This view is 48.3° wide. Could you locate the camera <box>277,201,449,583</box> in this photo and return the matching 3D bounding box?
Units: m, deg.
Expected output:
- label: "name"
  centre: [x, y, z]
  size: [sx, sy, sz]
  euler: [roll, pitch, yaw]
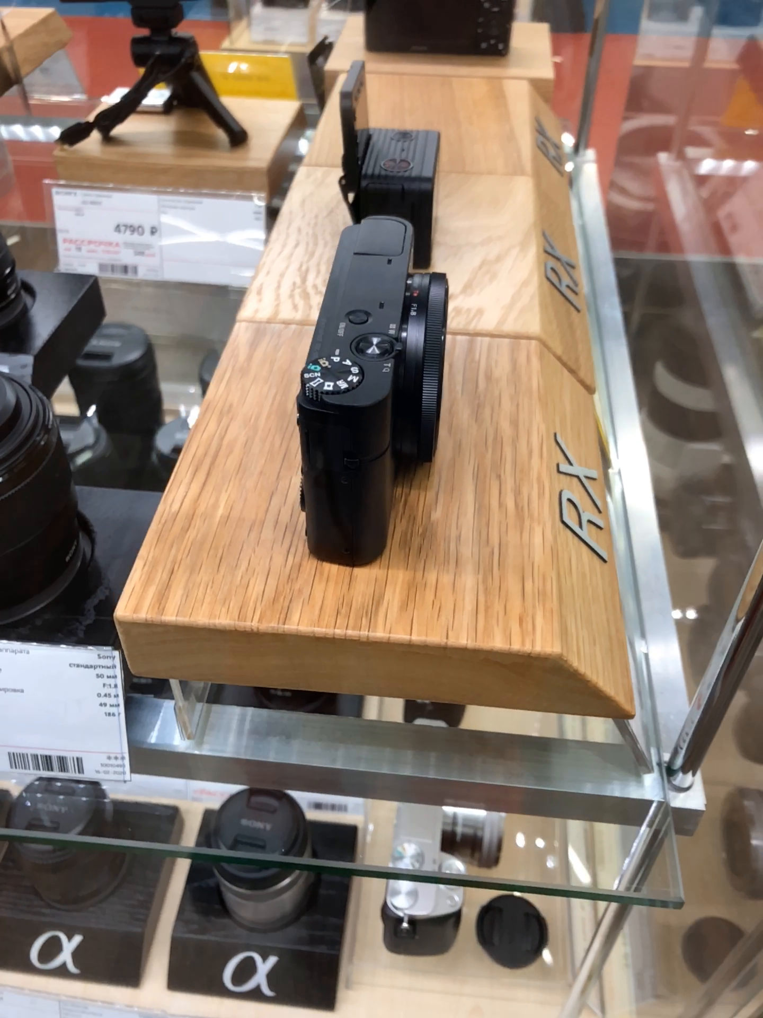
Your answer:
- label: "camera"
  centre: [-0.002, -0.039, 0.259]
  size: [0.037, 0.062, 0.107]
  euler: [4, 44, 3]
